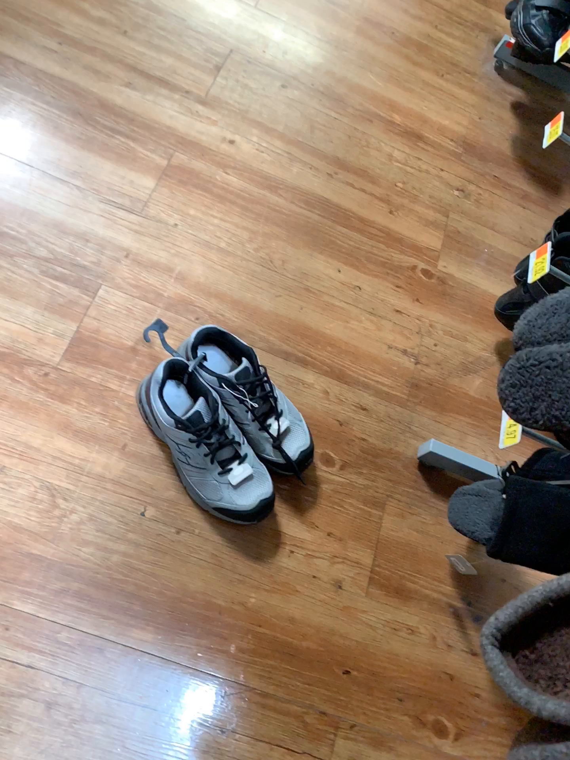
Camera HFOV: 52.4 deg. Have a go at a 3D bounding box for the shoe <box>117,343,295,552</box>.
[{"bbox_3d":[-0.133,0.107,0.931,0.117,0.089,0.307,-33,80,-26],"label":"shoe"}]

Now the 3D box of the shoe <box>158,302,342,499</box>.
[{"bbox_3d":[-0.064,0.035,0.985,0.124,0.099,0.308,-38,82,-27],"label":"shoe"}]
